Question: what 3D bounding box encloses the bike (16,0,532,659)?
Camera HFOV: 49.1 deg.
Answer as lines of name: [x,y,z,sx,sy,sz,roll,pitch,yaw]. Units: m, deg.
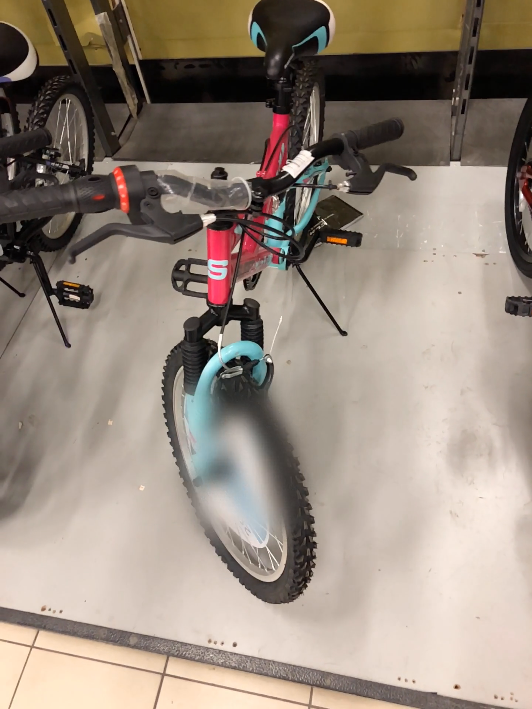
bike: [0.122,-0.213,1.117,0.563,0.765,1.219,-1,57,9]
